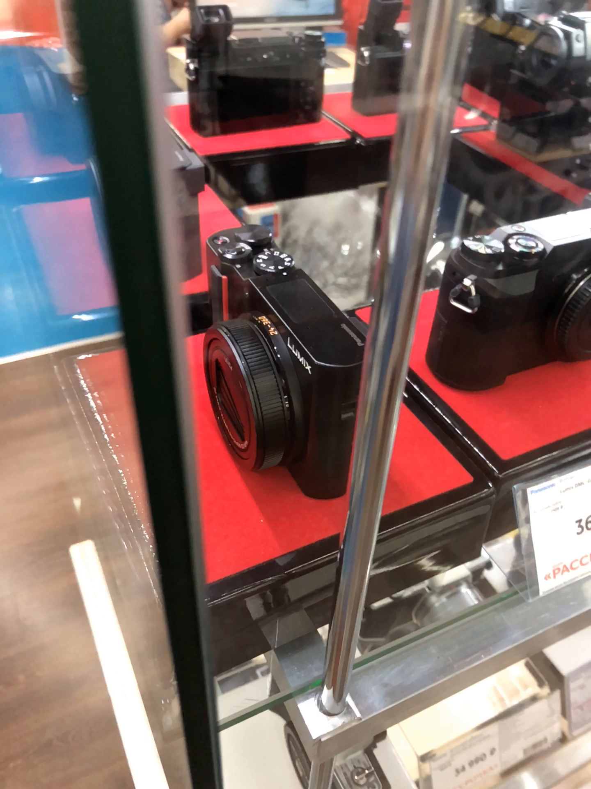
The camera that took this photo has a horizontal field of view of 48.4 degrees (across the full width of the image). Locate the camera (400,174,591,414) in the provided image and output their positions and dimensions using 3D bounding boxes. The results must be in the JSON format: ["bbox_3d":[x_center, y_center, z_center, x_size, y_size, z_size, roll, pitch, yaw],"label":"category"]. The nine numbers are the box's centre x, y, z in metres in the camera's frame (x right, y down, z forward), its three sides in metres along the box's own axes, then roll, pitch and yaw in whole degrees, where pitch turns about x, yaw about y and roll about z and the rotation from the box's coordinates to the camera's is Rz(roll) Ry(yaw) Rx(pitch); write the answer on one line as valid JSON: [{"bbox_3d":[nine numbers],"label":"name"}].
[{"bbox_3d":[0.112,-0.049,0.308,0.102,0.076,0.054,-16,43,-21],"label":"camera"}]

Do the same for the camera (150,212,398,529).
[{"bbox_3d":[-0.015,-0.016,0.270,0.052,0.070,0.110,-16,43,-21],"label":"camera"}]

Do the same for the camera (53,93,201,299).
[{"bbox_3d":[-0.102,-0.123,0.397,0.055,0.076,0.114,-14,43,-19],"label":"camera"}]
